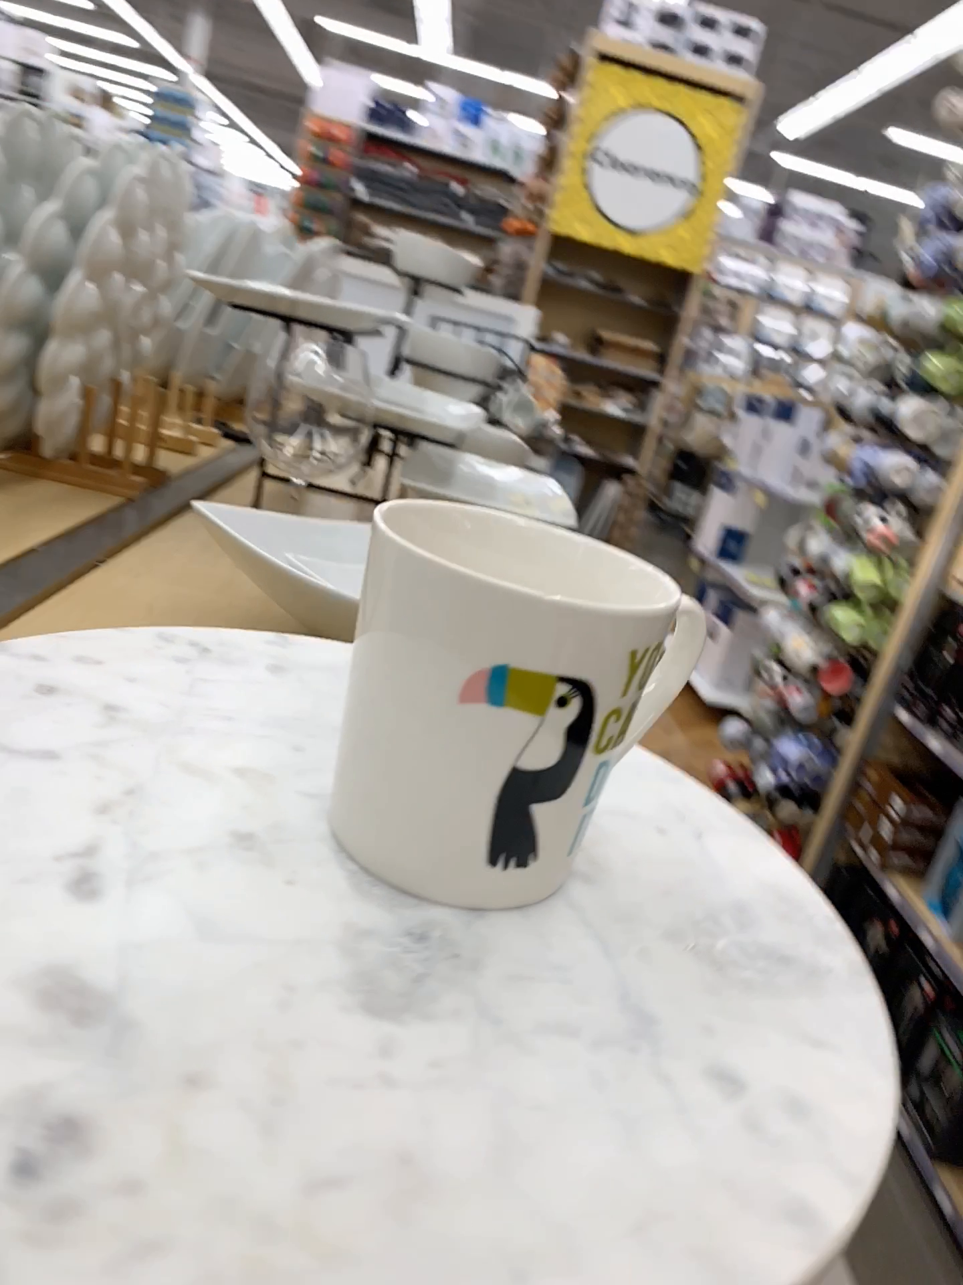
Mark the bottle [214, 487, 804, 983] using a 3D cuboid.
[{"bbox_3d":[0.008,0.021,0.333,0.143,0.107,0.104,0,22,-41],"label":"bottle"}]
